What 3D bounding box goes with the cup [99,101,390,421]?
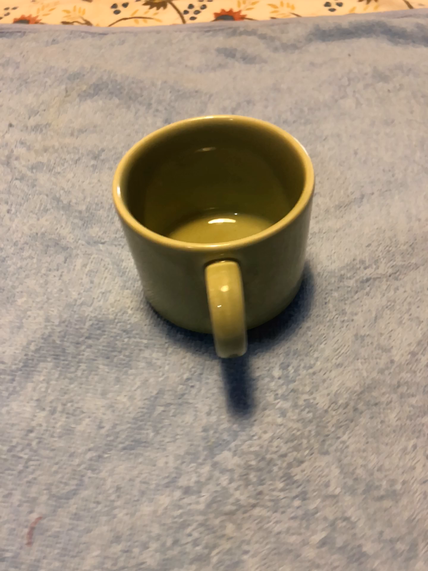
[{"bbox_3d":[0.005,-0.013,0.203,0.090,0.060,0.111,-9,54,-1],"label":"cup"}]
